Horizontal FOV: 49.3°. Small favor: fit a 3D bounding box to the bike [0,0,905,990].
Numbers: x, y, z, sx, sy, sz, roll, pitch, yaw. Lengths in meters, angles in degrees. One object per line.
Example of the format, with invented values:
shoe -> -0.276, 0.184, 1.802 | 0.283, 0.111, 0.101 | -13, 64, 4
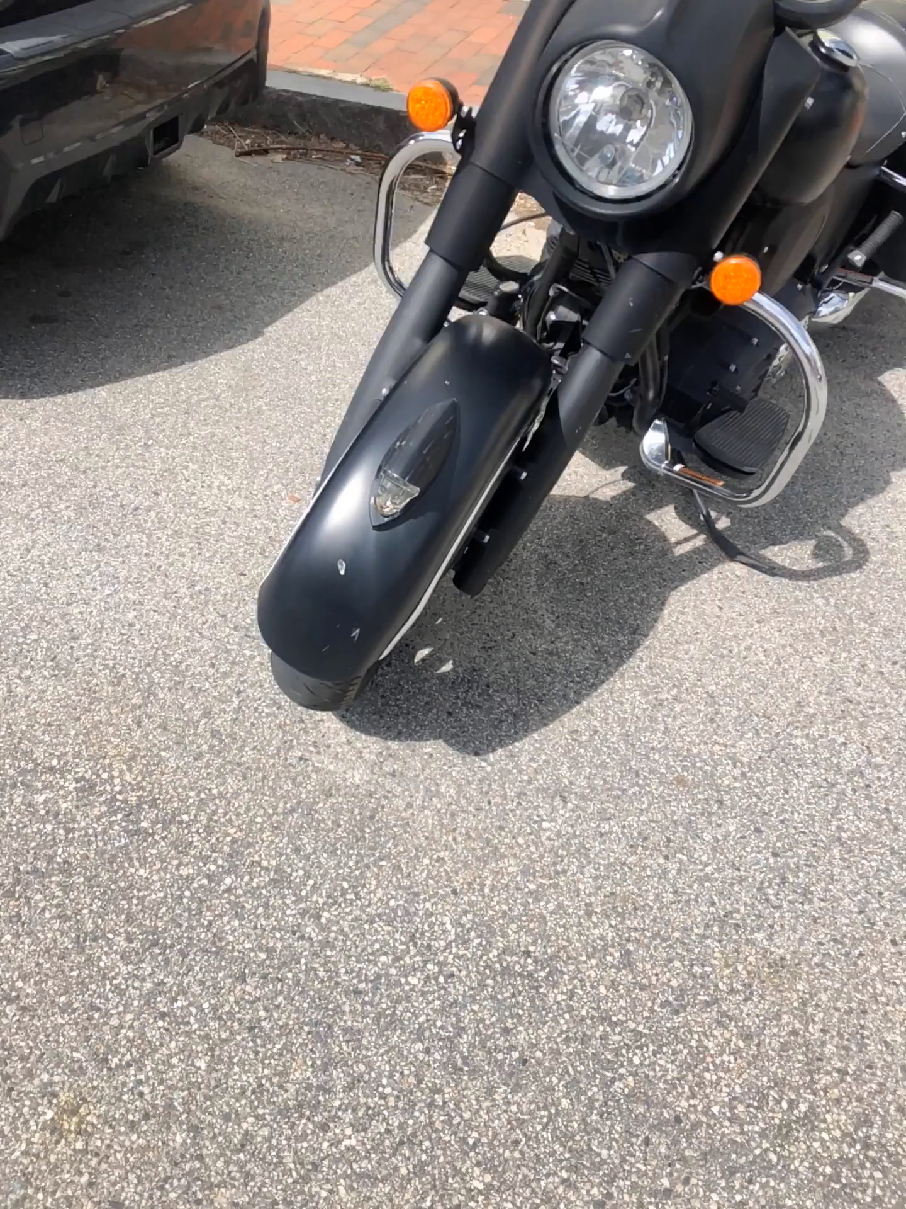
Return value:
bike -> 0.338, -0.679, 1.846 | 0.857, 1.300, 2.102 | 21, 48, 22
